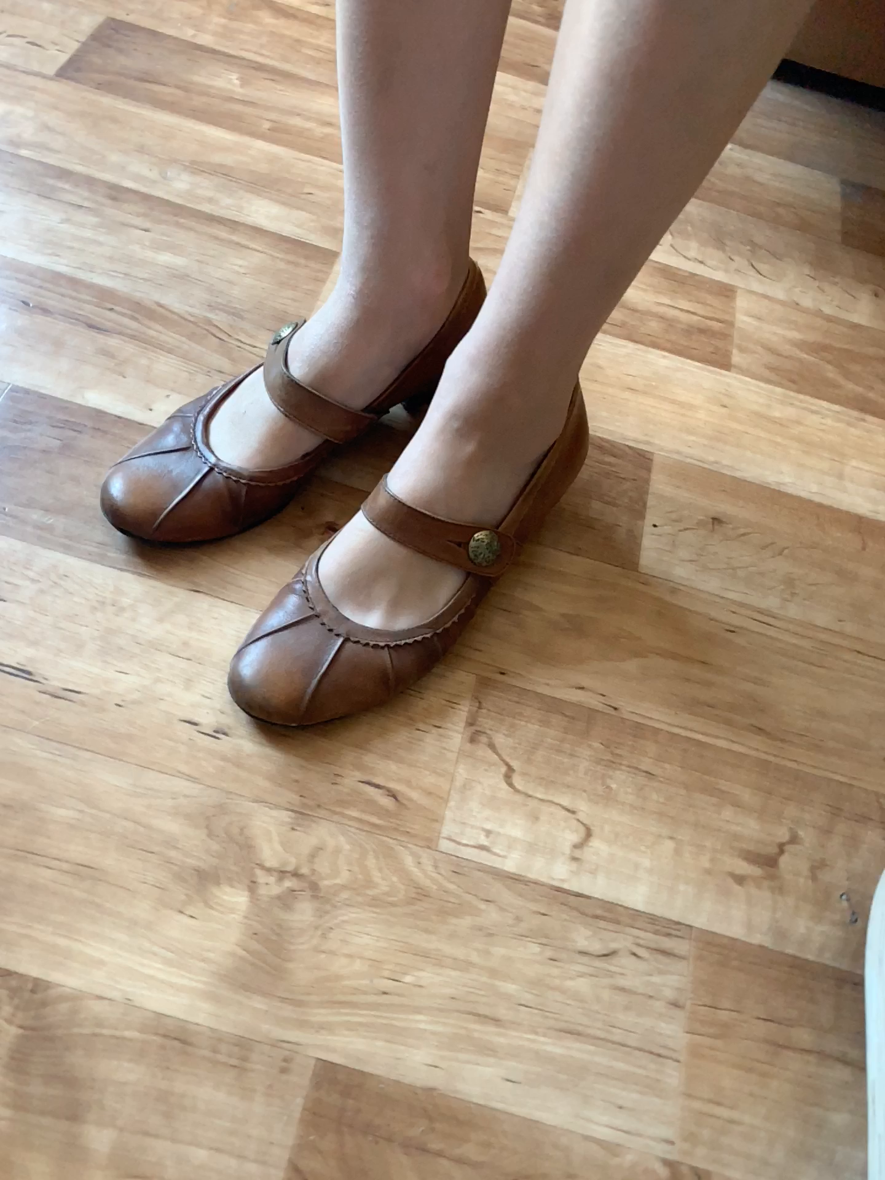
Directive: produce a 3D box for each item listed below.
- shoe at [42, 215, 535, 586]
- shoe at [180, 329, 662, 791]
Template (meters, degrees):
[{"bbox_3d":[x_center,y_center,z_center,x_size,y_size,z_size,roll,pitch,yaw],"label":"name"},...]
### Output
[{"bbox_3d":[-0.078,-0.115,0.518,0.250,0.090,0.090,-31,69,-26],"label":"shoe"},{"bbox_3d":[-0.005,-0.025,0.477,0.090,0.090,0.250,41,60,15],"label":"shoe"}]
